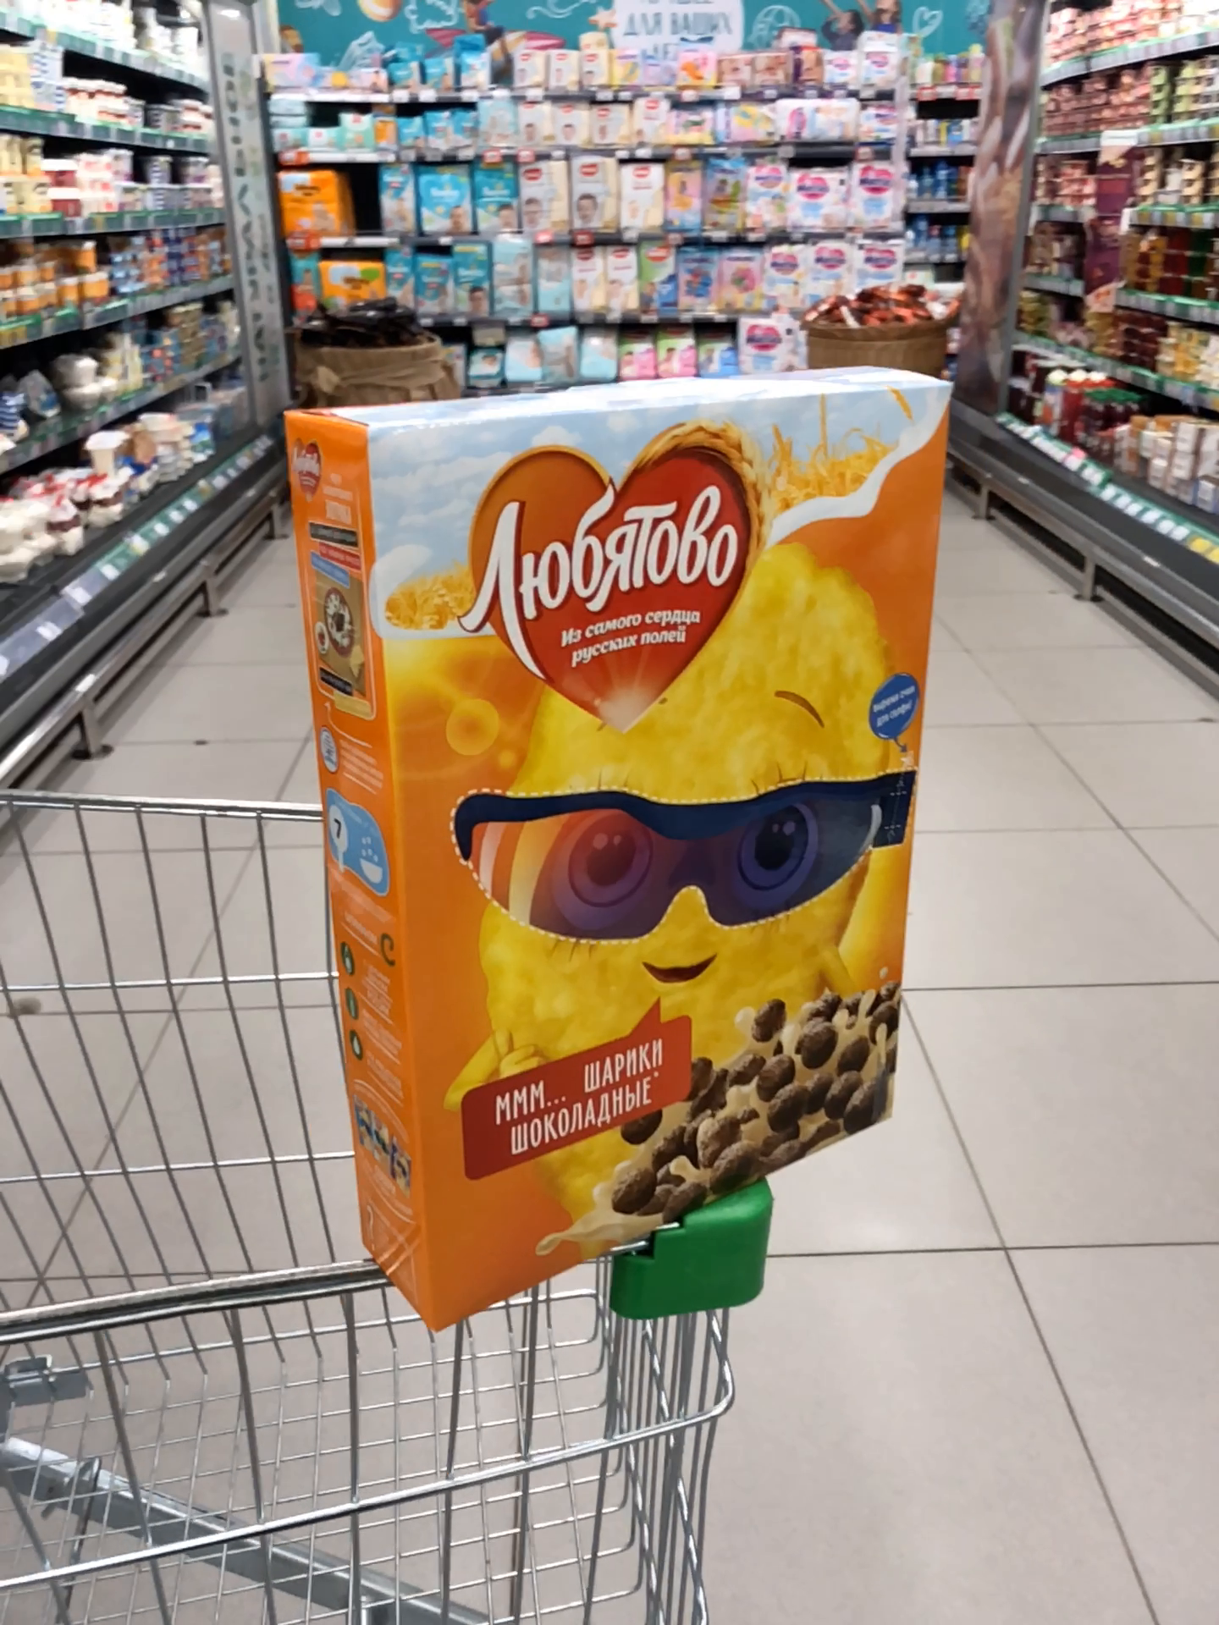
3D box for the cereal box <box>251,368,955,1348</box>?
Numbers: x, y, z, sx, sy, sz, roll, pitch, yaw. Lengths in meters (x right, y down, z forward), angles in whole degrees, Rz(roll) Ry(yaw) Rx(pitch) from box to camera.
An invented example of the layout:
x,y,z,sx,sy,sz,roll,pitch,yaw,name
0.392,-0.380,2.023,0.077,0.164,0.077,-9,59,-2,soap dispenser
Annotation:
x,y,z,sx,sy,sz,roll,pitch,yaw,name
0.008,0.004,0.411,0.200,0.259,0.050,-14,25,-33,cereal box
